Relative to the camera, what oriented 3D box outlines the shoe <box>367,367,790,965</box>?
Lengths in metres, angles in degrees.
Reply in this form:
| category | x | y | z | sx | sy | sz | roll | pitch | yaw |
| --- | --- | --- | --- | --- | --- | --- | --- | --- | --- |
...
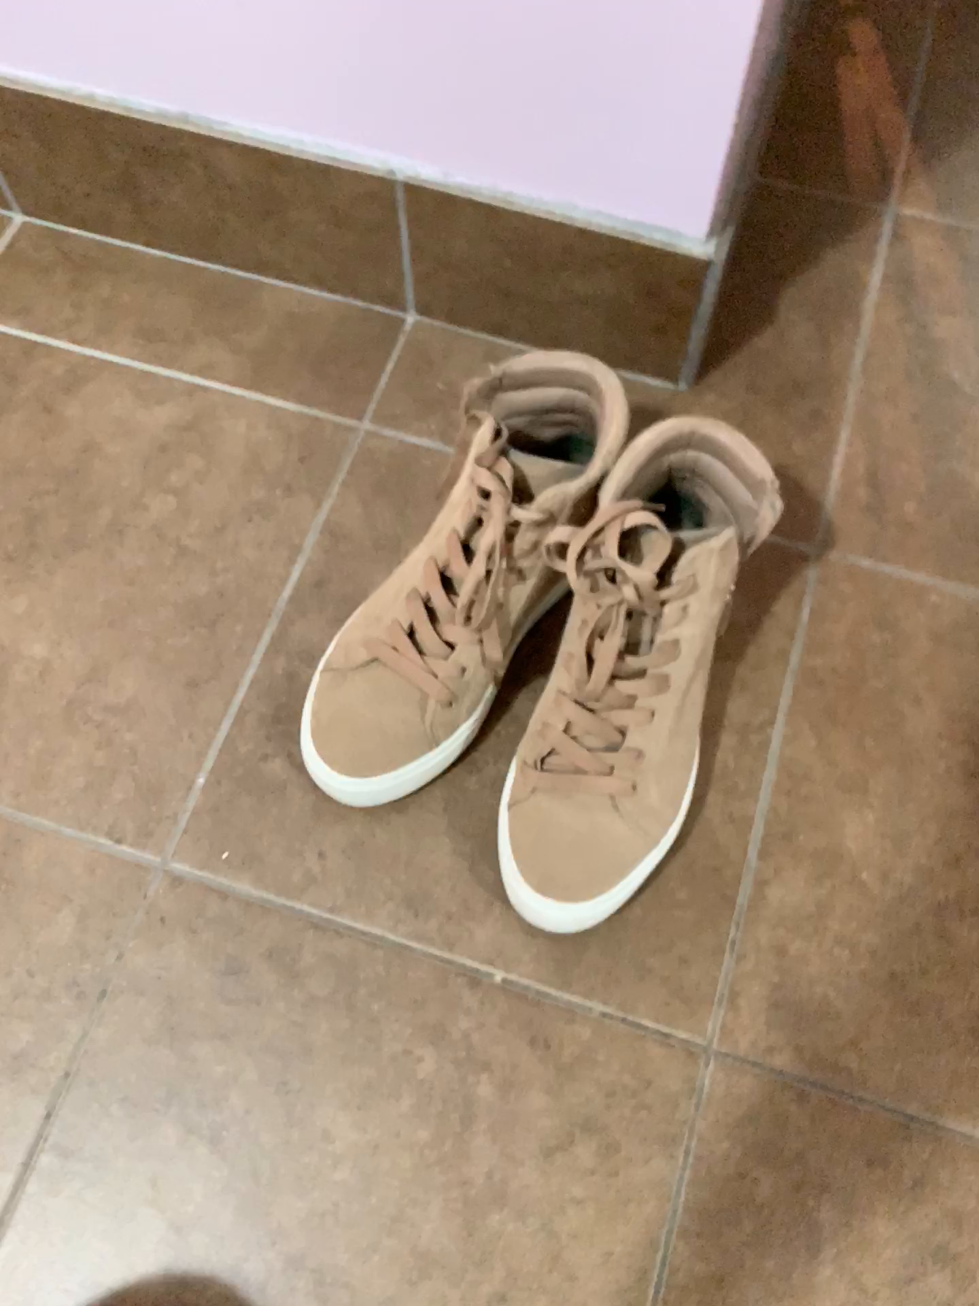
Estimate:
| category | x | y | z | sx | sy | sz | roll | pitch | yaw |
| --- | --- | --- | --- | --- | --- | --- | --- | --- | --- |
| shoe | 0.051 | 0.005 | 0.535 | 0.113 | 0.120 | 0.270 | 21 | 68 | 9 |

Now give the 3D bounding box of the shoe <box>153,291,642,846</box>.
| category | x | y | z | sx | sy | sz | roll | pitch | yaw |
| --- | --- | --- | --- | --- | --- | --- | --- | --- | --- |
| shoe | -0.036 | -0.045 | 0.536 | 0.105 | 0.117 | 0.254 | 31 | 69 | 13 |
